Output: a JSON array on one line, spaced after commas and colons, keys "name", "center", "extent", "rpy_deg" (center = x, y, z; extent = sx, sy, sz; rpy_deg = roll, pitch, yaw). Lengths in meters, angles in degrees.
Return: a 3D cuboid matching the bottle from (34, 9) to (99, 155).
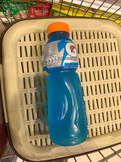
[{"name": "bottle", "center": [0.009, 0.000, 0.225], "extent": [0.080, 0.060, 0.210], "rpy_deg": [-5, 90, -29]}]
